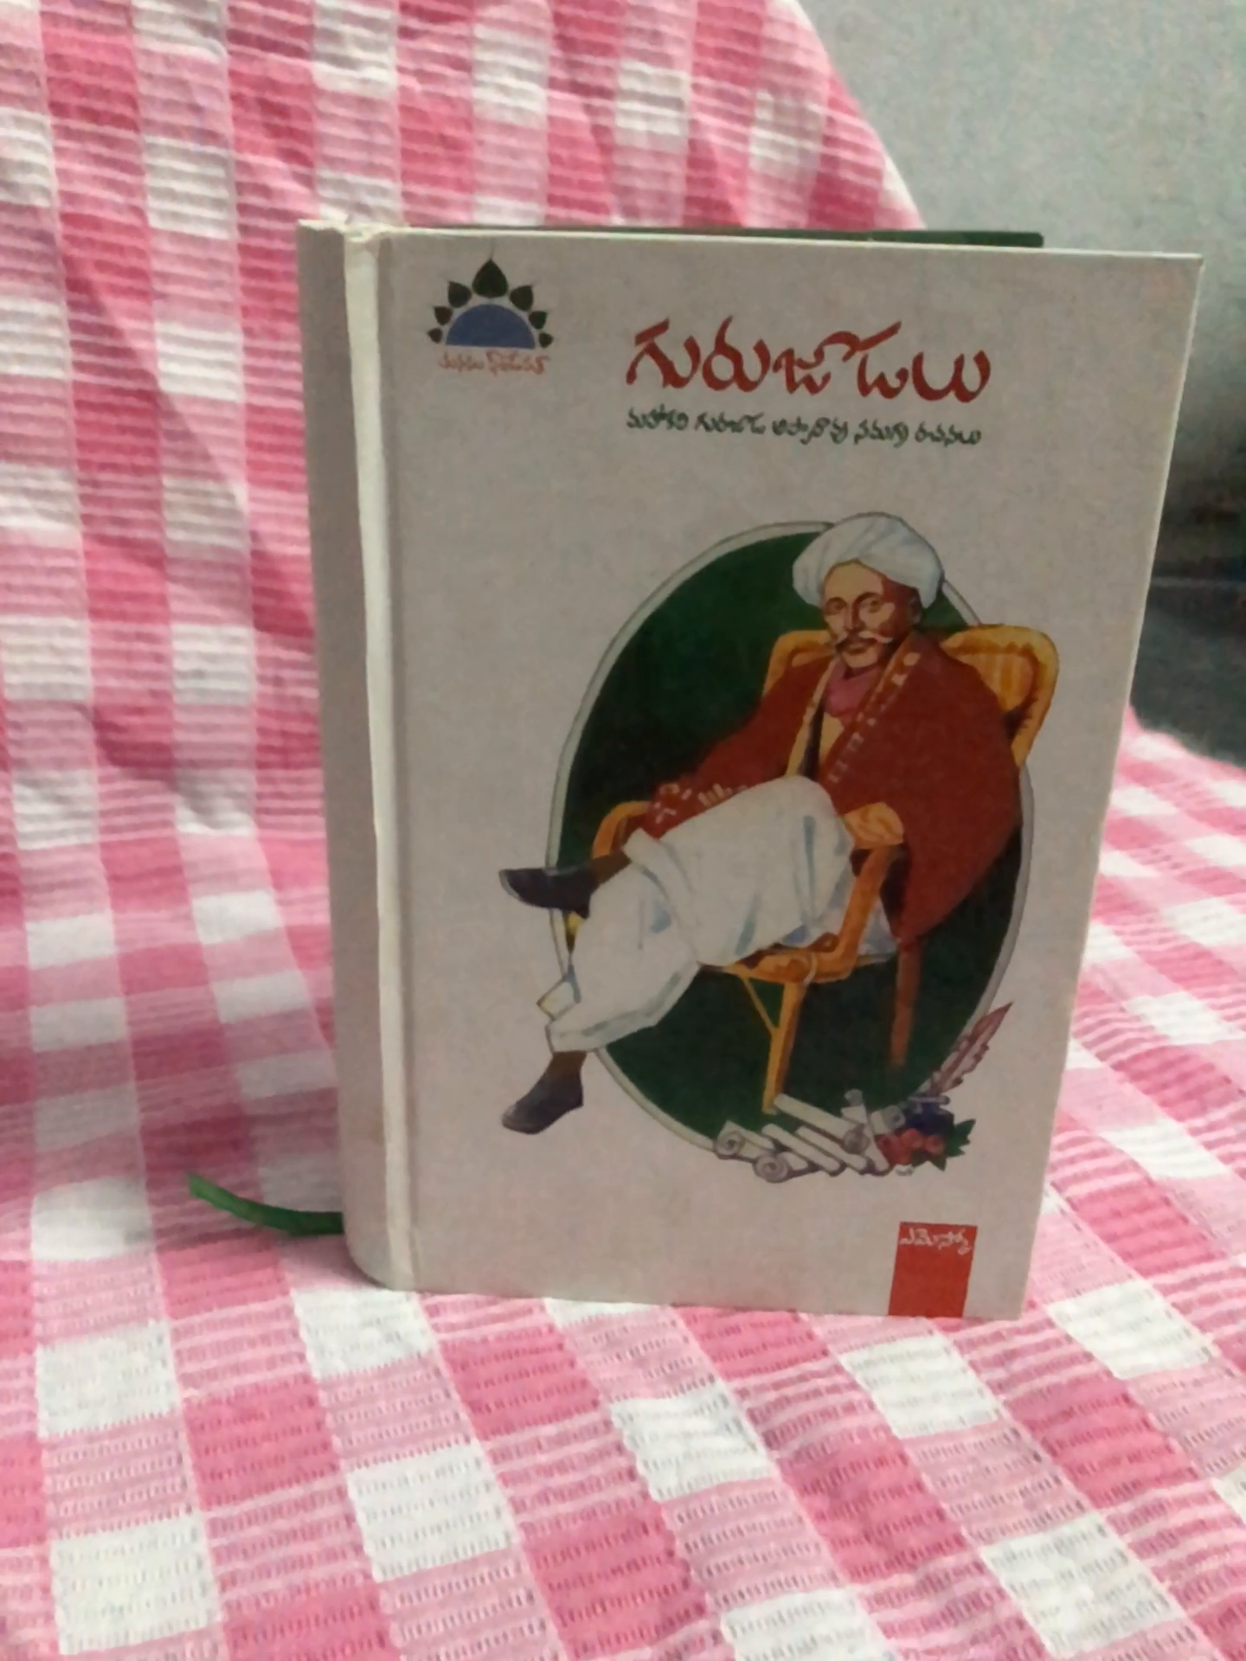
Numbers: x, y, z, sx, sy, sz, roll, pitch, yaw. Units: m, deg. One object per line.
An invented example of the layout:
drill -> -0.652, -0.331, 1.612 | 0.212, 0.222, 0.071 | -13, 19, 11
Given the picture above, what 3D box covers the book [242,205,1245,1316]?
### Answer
book -> 0.019, -0.010, 0.285 | 0.160, 0.209, 0.070 | 3, 25, 0
